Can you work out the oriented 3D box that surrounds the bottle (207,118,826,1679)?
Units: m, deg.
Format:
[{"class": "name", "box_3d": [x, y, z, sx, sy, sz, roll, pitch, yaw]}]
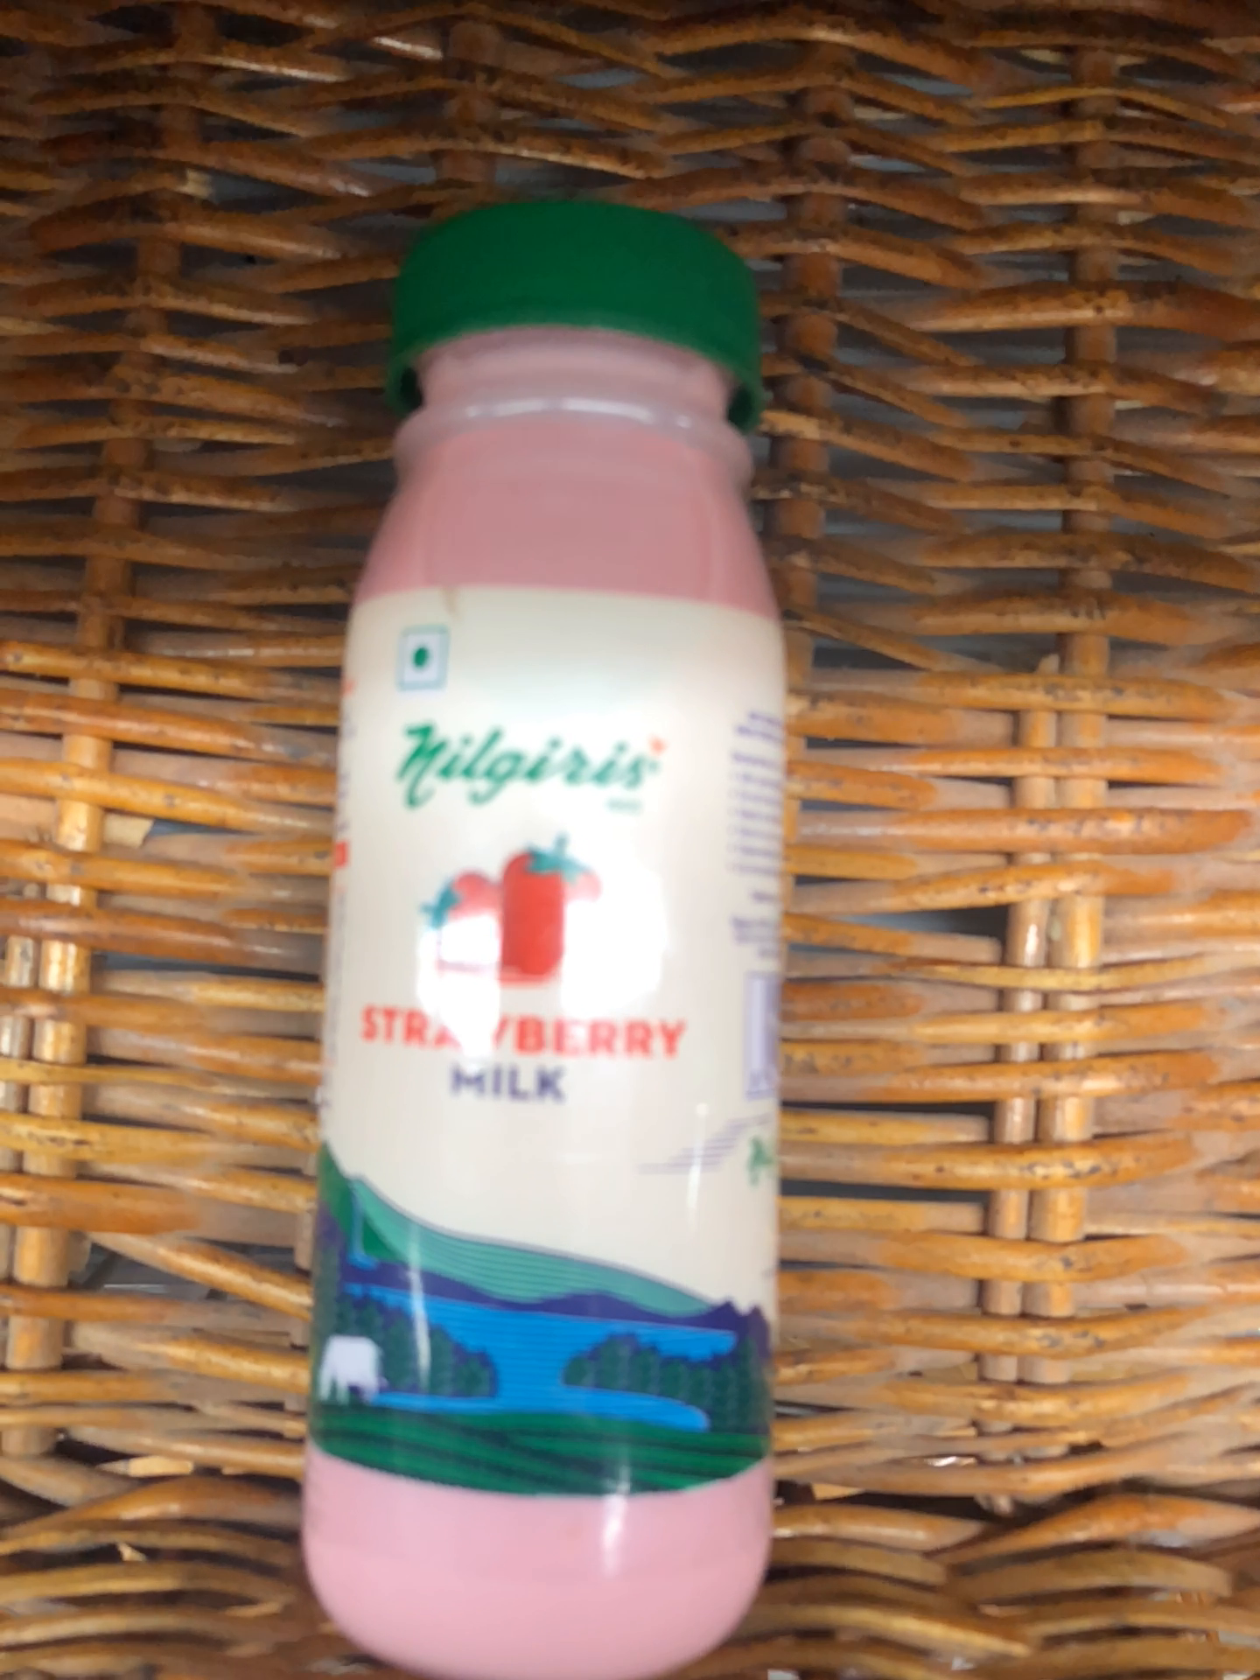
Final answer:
[{"class": "bottle", "box_3d": [-0.010, 0.009, 0.147, 0.050, 0.040, 0.150, 2, 86, -1]}]
